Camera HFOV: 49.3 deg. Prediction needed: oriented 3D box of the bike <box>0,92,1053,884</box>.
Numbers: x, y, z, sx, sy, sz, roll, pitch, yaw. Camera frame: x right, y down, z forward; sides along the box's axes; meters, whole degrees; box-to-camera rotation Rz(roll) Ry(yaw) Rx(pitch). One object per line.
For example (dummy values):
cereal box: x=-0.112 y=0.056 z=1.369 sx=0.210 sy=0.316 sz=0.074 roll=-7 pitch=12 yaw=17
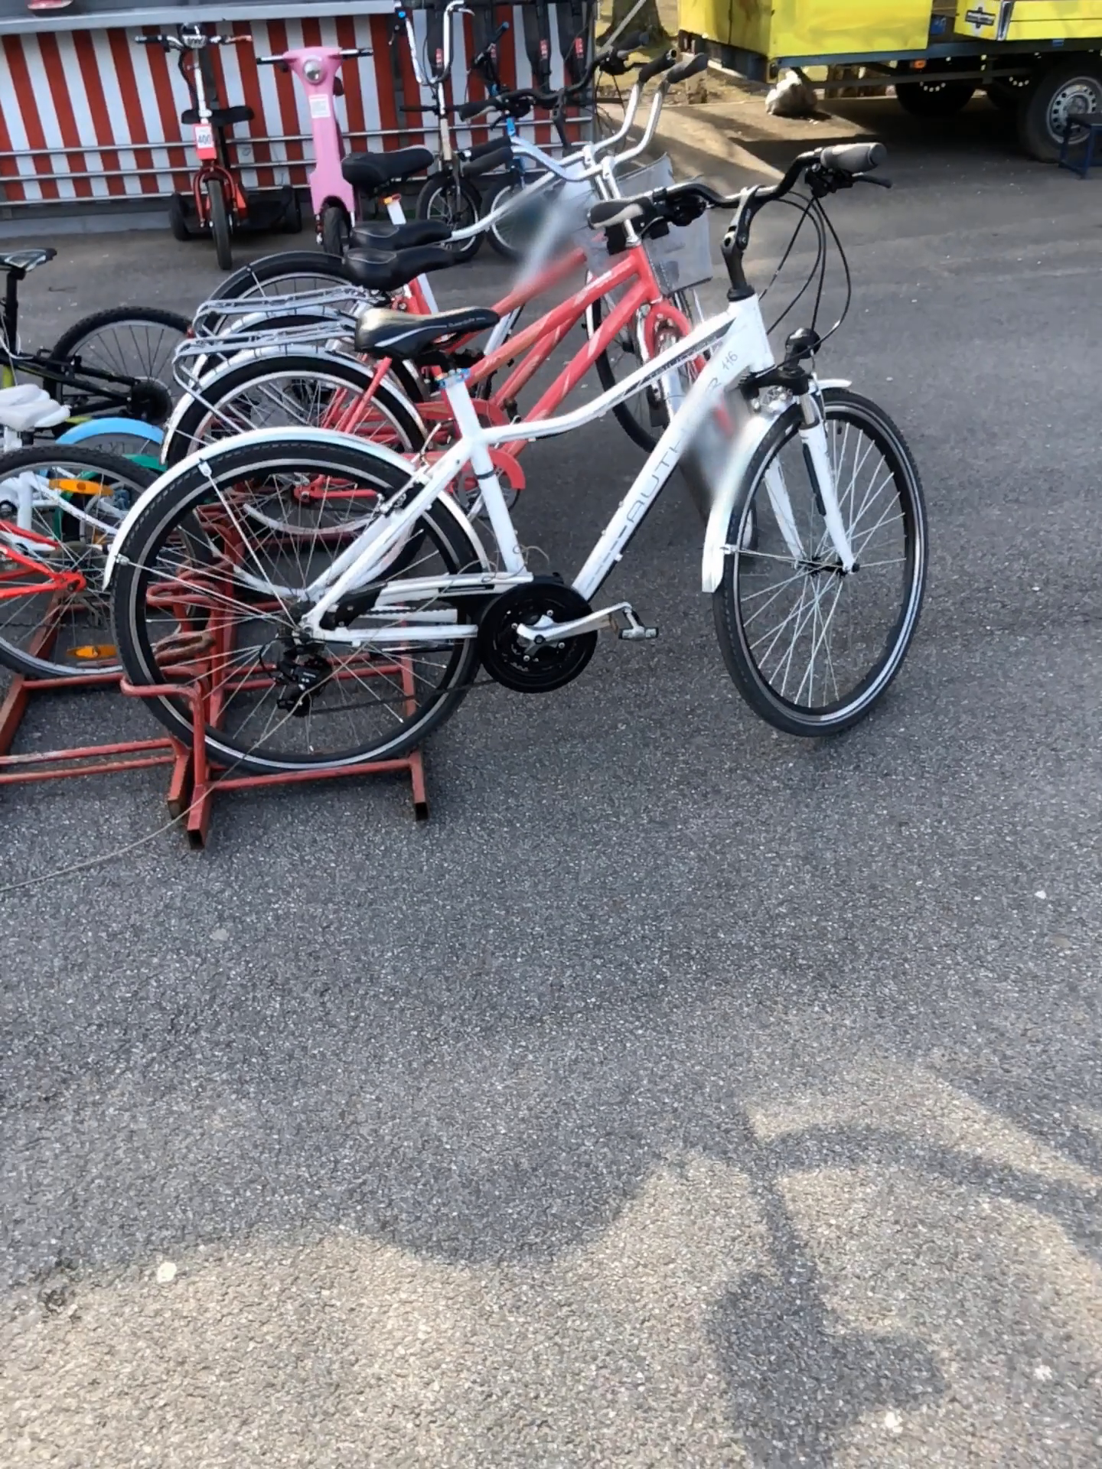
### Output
bike: x=-0.020 y=-0.535 z=2.381 sx=1.697 sy=1.111 sz=0.648 roll=-12 pitch=36 yaw=-13
